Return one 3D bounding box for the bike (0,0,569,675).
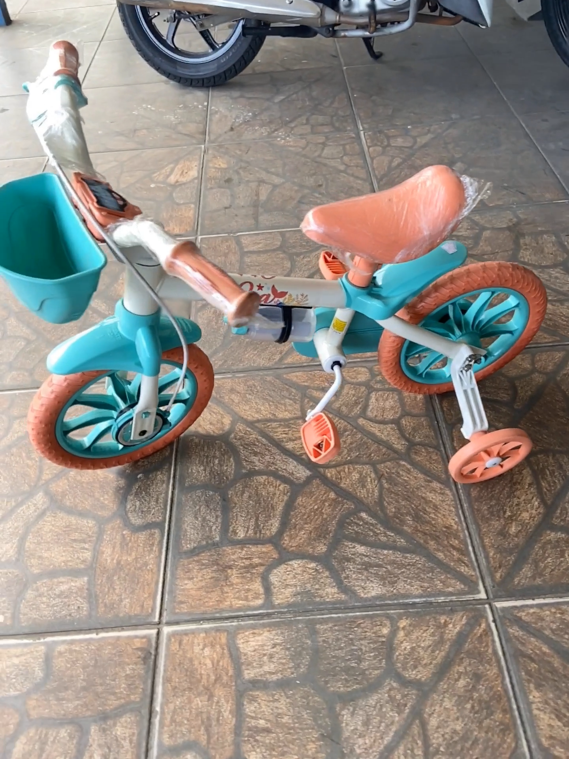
[{"bbox_3d":[0.037,-0.079,0.777,0.807,0.534,0.501,-14,49,-10],"label":"bike"}]
